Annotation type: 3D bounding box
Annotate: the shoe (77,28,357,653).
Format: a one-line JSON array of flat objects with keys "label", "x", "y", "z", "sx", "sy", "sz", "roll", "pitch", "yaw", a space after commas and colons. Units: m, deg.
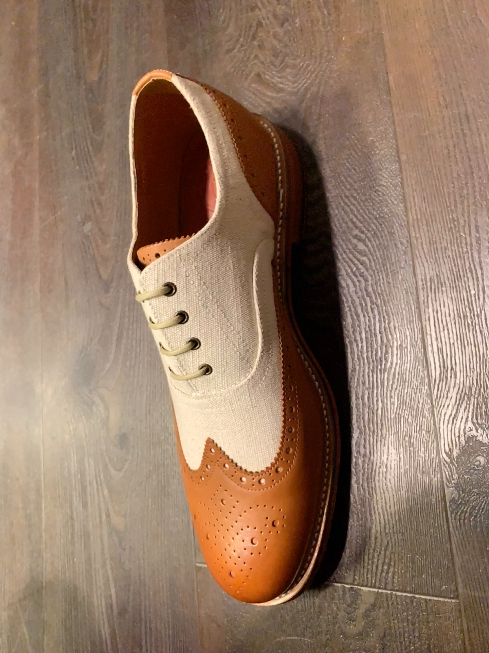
[{"label": "shoe", "x": -0.017, "y": 0.010, "z": 0.310, "sx": 0.110, "sy": 0.119, "sz": 0.300, "roll": -8, "pitch": 80, "yaw": 34}]
